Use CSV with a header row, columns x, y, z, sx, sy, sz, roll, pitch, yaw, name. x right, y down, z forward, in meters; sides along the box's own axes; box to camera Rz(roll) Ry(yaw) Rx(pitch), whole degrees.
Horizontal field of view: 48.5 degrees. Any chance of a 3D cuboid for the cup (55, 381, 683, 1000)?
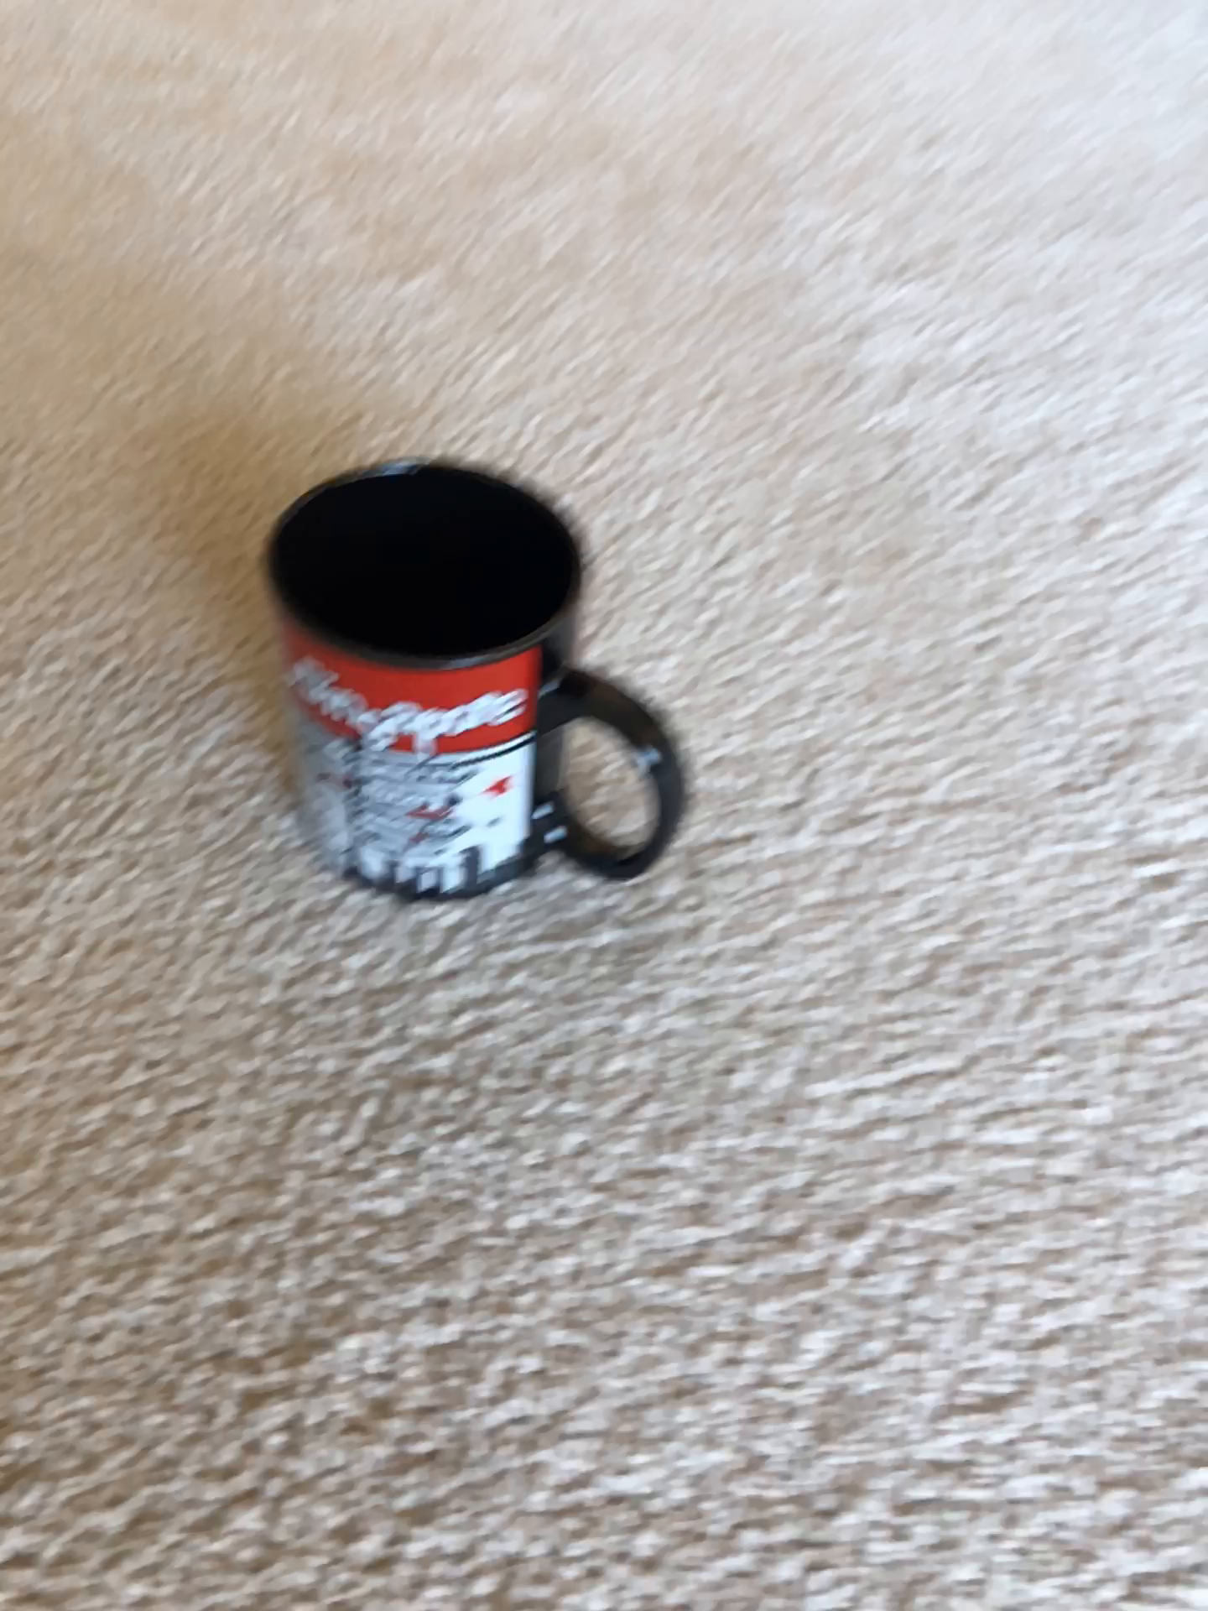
x,y,z,sx,sy,sz,roll,pitch,yaw,name
-0.062,-0.036,0.371,0.130,0.090,0.090,32,53,22,cup
